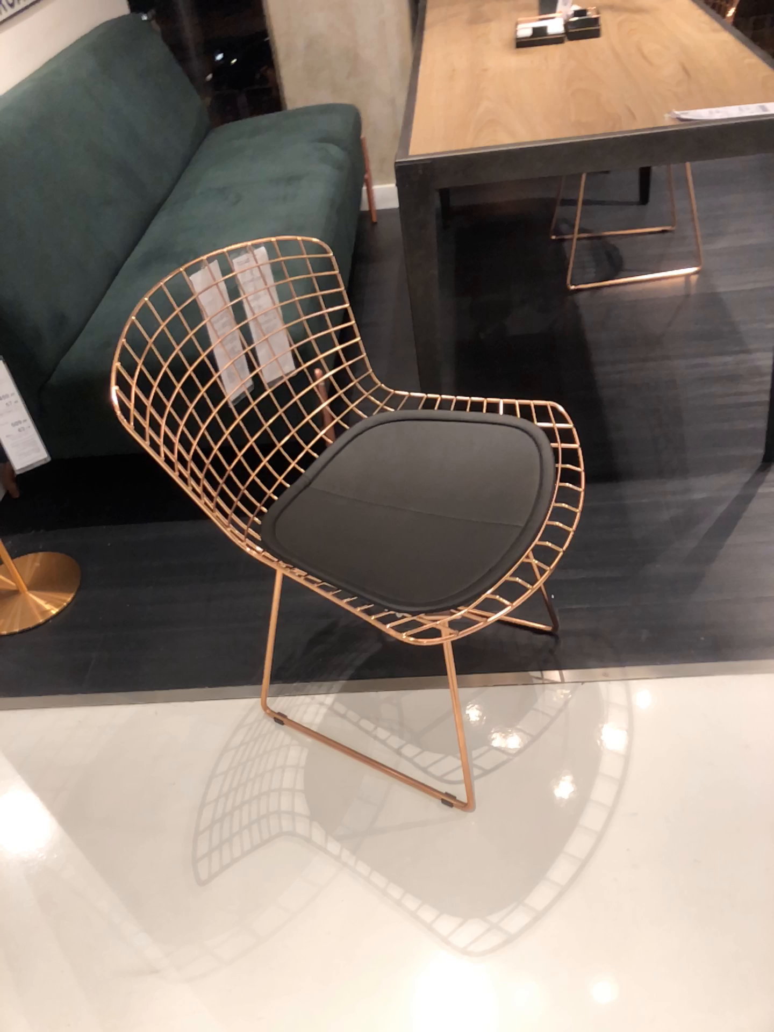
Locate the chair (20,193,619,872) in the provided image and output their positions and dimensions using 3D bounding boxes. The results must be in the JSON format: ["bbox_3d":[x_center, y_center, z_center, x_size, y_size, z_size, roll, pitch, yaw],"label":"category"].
[{"bbox_3d":[-0.015,0.004,1.255,0.541,0.744,0.523,13,44,24],"label":"chair"}]
